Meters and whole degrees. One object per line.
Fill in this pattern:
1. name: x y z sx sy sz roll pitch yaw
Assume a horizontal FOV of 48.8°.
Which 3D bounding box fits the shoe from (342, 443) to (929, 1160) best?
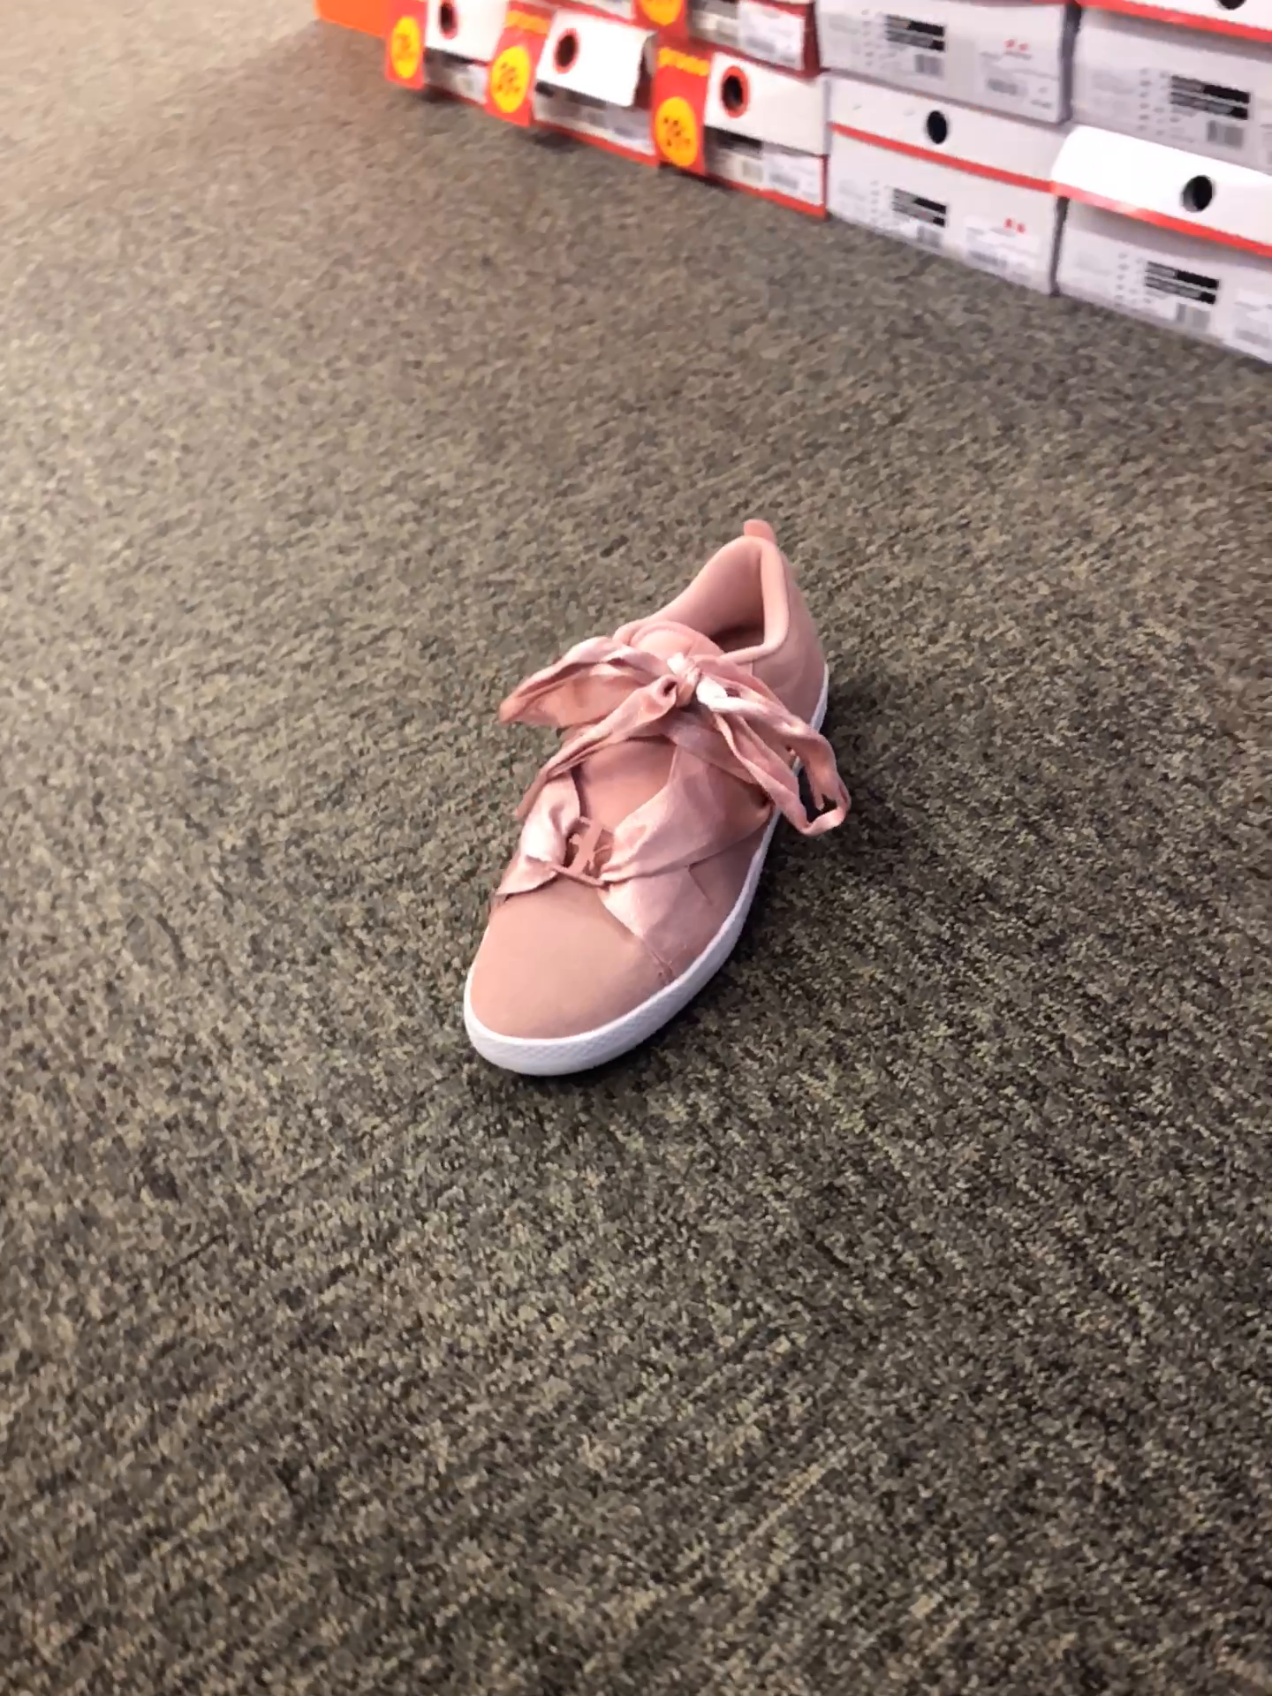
1. shoe: 0.016 -0.030 0.550 0.100 0.100 0.263 19 59 25
